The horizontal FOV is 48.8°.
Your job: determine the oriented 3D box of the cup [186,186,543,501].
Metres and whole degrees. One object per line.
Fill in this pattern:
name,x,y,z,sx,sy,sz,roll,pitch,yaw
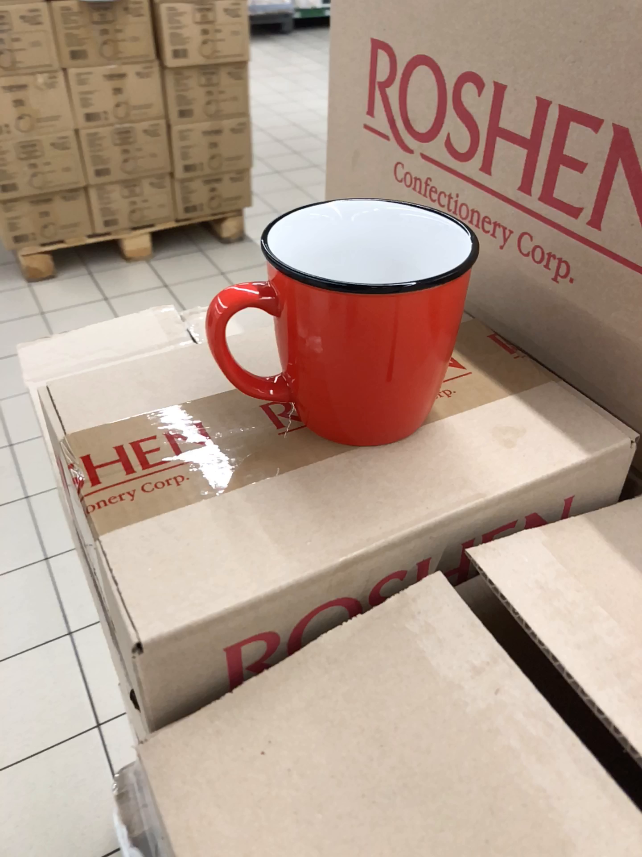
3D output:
cup,0.014,-0.046,0.337,0.127,0.089,0.097,-14,42,-18
